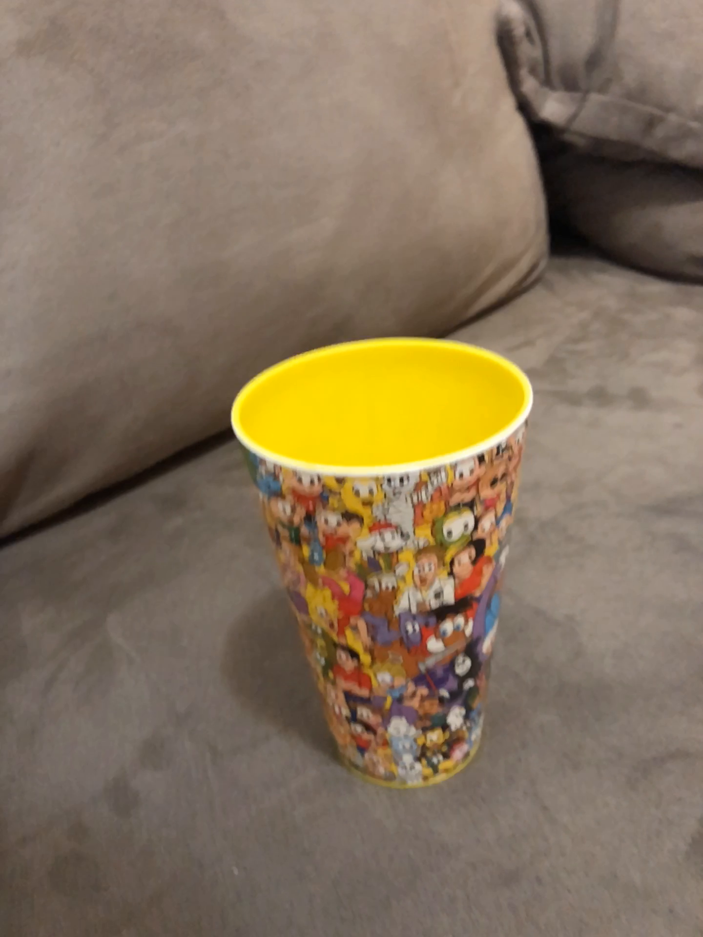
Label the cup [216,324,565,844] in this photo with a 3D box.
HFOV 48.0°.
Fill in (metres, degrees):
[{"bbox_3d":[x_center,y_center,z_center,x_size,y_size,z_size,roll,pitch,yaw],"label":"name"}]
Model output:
[{"bbox_3d":[0.012,0.038,0.277,0.090,0.139,0.091,-6,30,3],"label":"cup"}]
